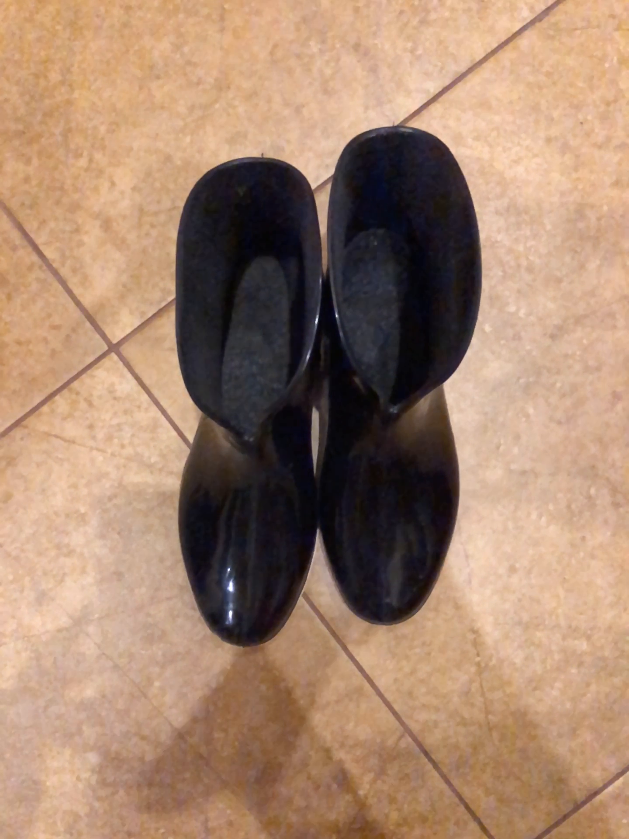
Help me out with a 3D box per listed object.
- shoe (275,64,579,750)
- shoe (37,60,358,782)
[{"bbox_3d":[0.047,-0.004,0.404,0.110,0.230,0.280,-3,88,1],"label":"shoe"},{"bbox_3d":[-0.044,0.001,0.390,0.110,0.230,0.280,3,89,1],"label":"shoe"}]
